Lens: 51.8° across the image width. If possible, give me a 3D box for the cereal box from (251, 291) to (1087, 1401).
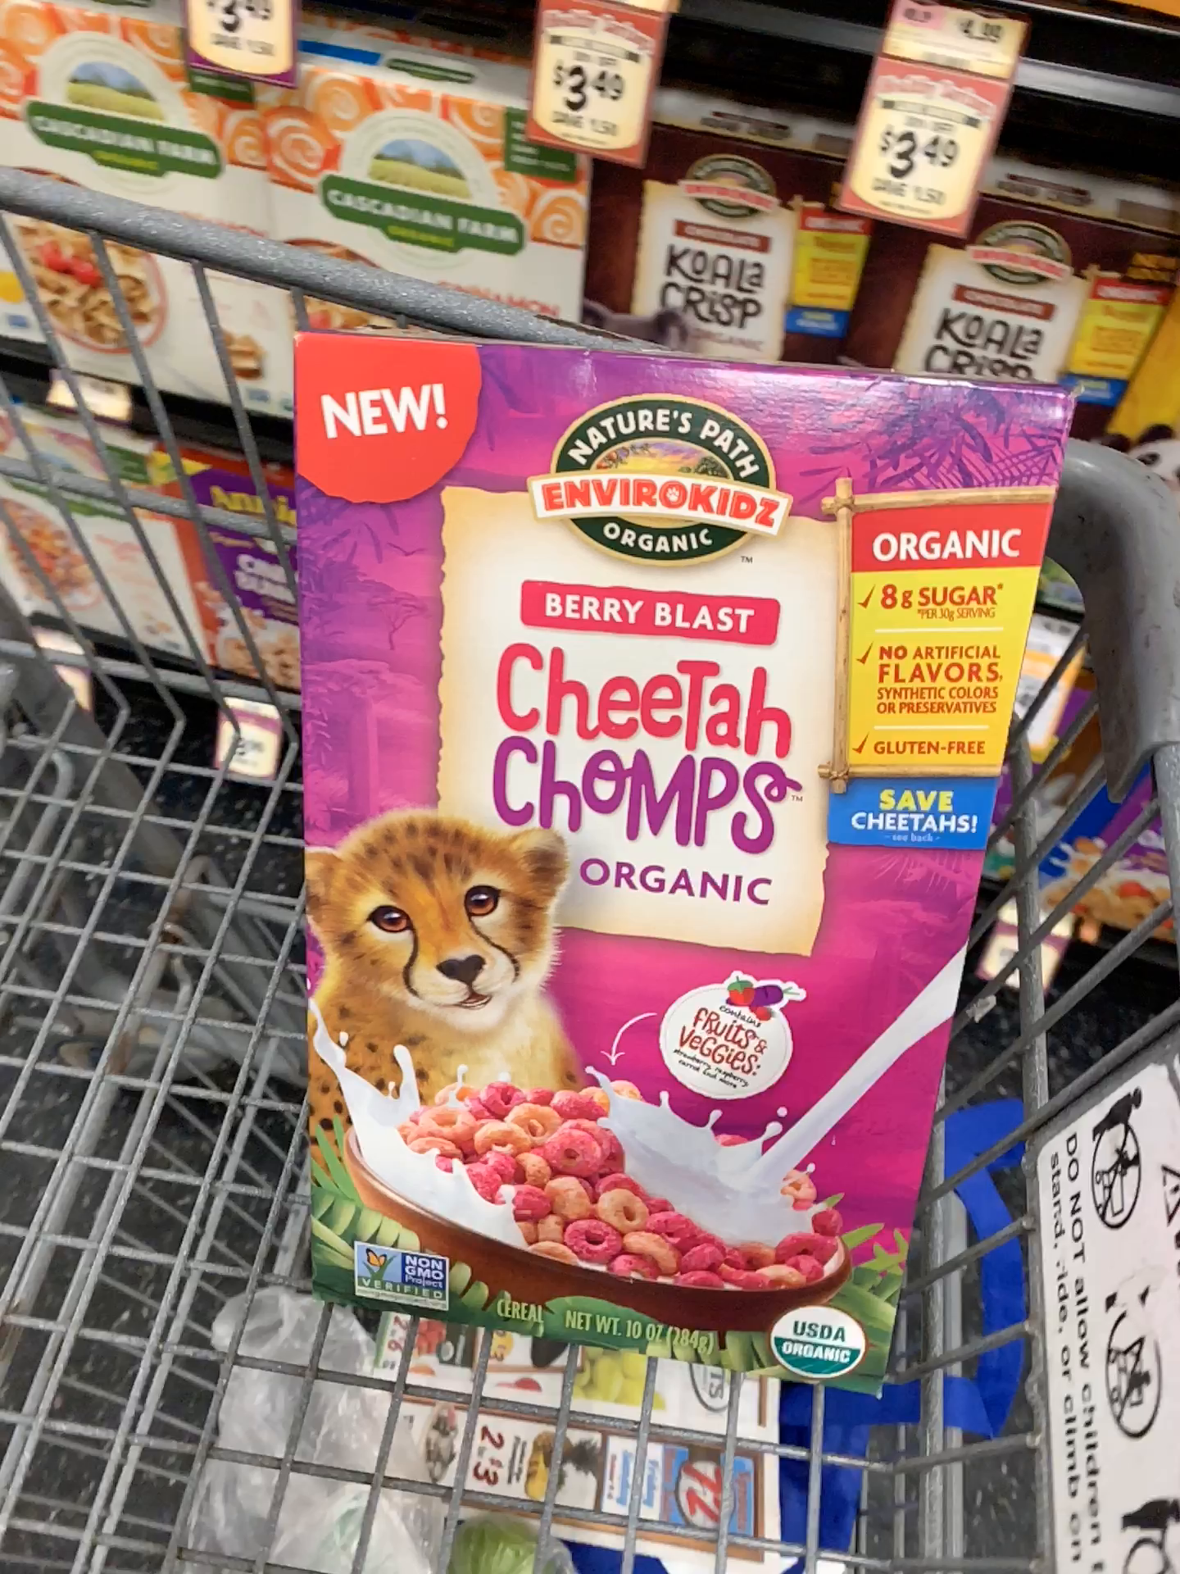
[{"bbox_3d":[0.007,0.019,0.301,0.160,0.250,0.060,7,20,5],"label":"cereal box"}]
